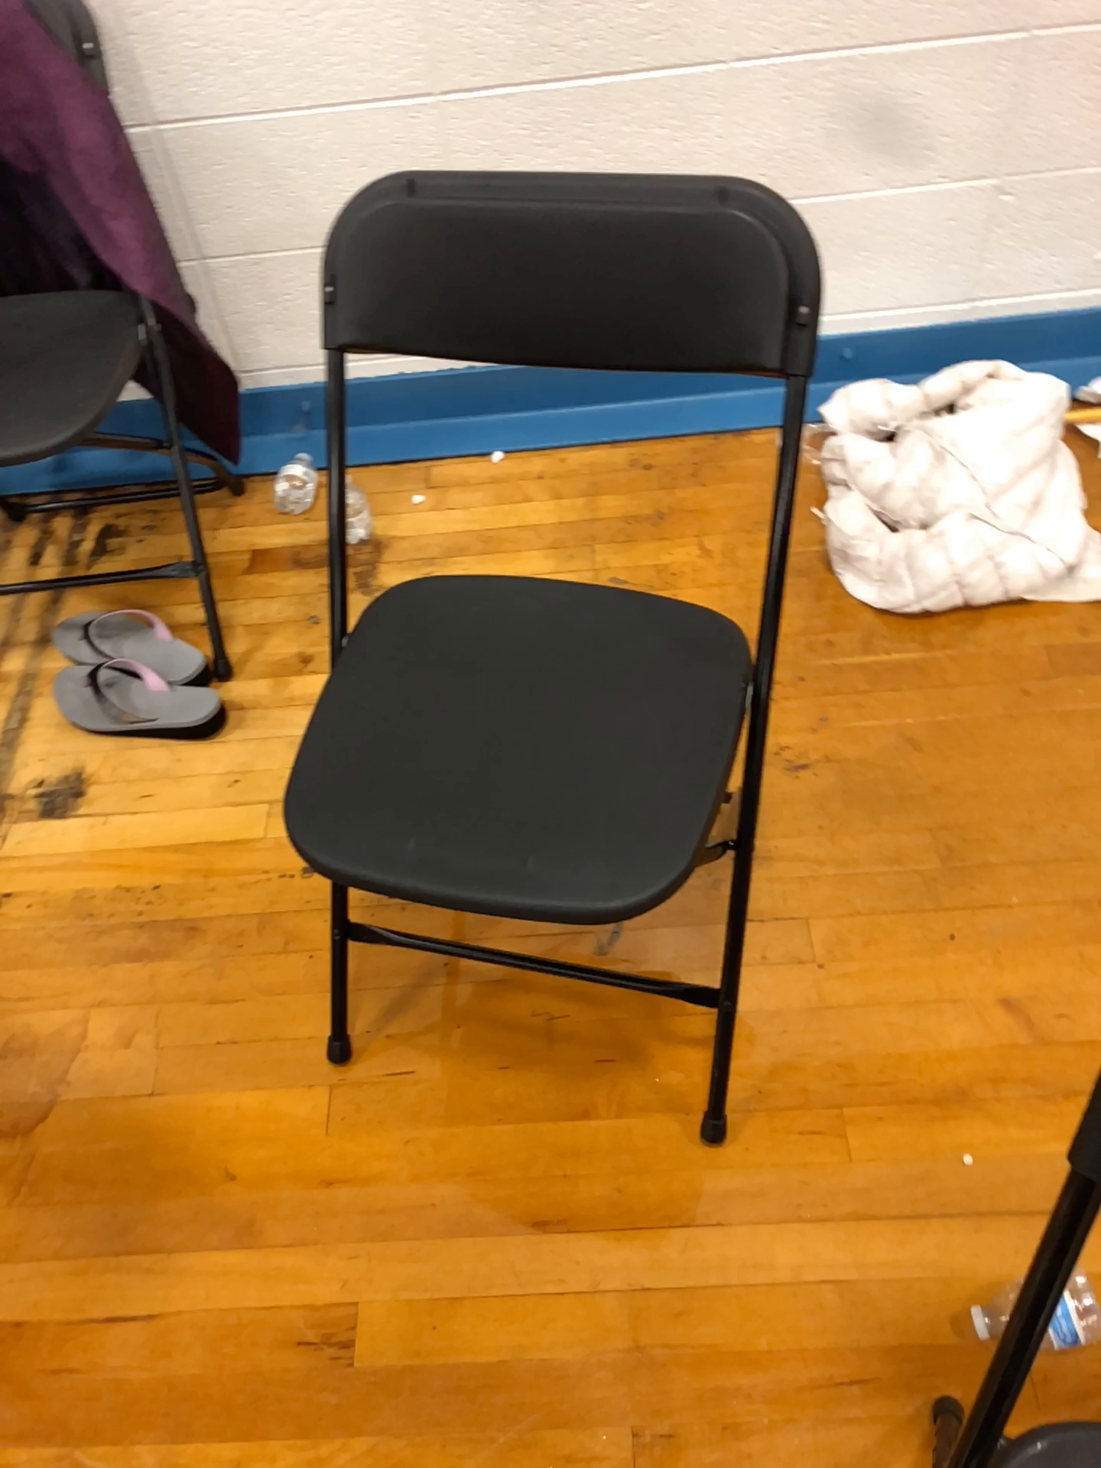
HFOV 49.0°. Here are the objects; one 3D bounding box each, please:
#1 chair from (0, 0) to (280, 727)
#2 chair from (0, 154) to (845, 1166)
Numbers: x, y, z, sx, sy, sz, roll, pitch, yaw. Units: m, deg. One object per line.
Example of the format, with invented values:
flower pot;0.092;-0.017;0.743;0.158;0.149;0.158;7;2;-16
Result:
chair;-0.728;-0.495;1.581;0.481;0.790;0.546;-5;49;3
chair;-0.023;-0.046;1.104;0.471;0.720;0.525;7;50;13
